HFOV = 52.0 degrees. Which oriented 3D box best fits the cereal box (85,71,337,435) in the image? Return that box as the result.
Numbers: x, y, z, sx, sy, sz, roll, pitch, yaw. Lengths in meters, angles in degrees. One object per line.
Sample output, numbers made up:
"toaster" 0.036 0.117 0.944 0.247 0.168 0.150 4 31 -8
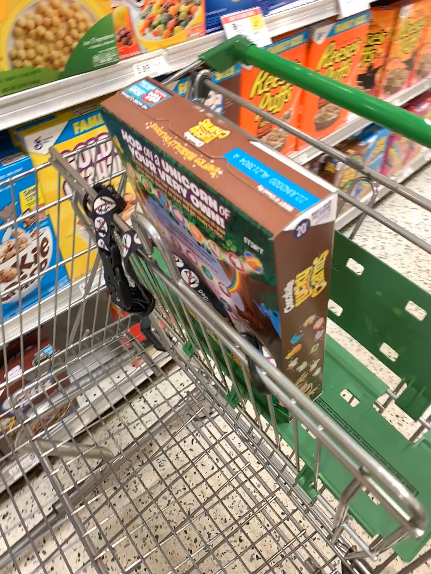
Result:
"cereal box" 0.004 -0.008 0.399 0.050 0.297 0.201 -36 56 -17
